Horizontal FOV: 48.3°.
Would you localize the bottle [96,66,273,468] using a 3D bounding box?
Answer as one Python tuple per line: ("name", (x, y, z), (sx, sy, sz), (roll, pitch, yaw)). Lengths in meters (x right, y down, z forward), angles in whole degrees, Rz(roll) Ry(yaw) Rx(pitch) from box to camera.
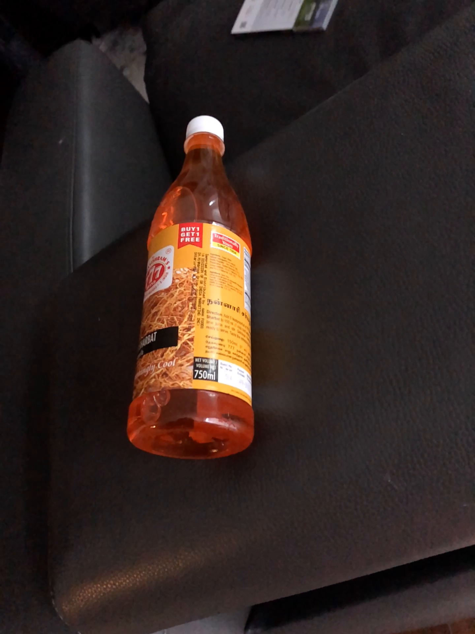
("bottle", (-0.031, -0.046, 0.383), (0.080, 0.070, 0.280), (-28, 49, 40))
